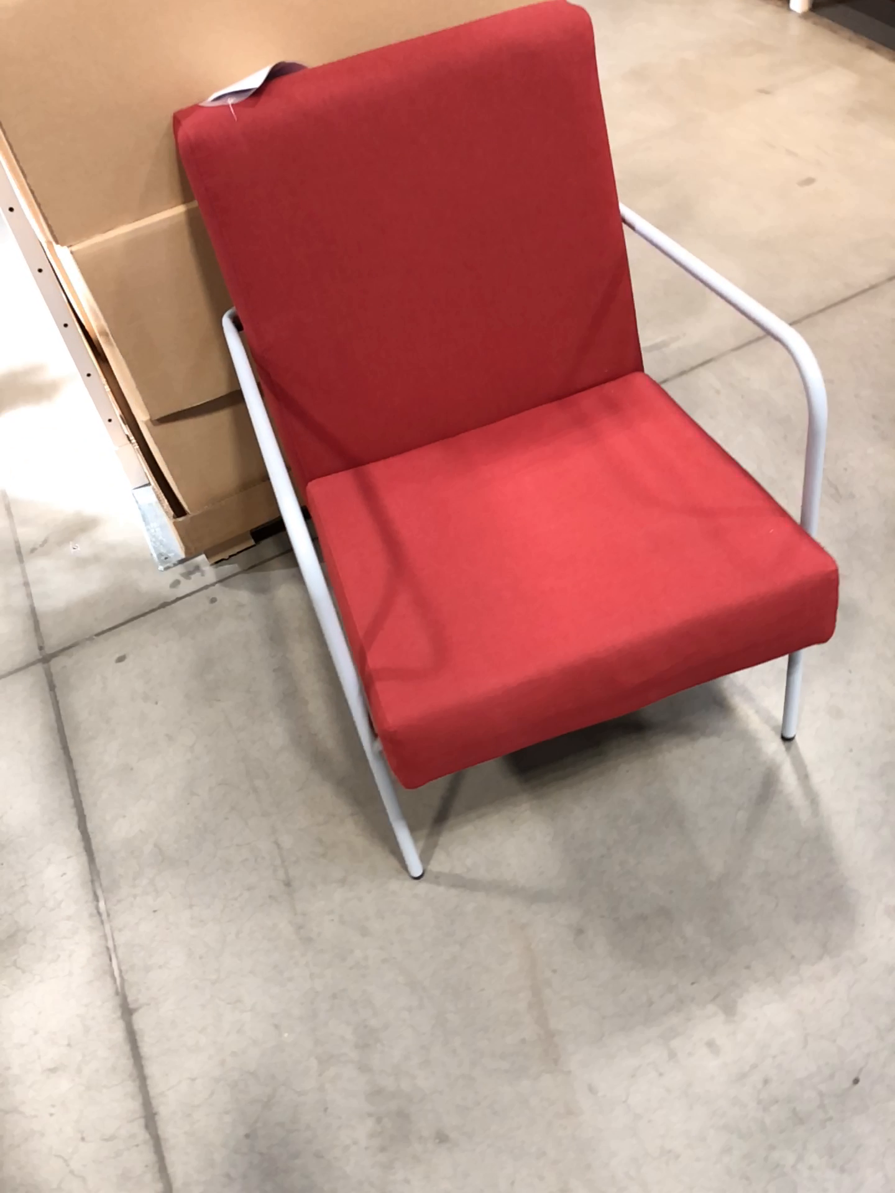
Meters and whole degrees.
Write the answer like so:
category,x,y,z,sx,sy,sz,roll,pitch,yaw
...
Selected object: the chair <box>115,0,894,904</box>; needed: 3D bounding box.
category,x,y,z,sx,sy,sz,roll,pitch,yaw
chair,0.062,-0.203,1.250,0.630,0.708,0.763,-19,51,-6
